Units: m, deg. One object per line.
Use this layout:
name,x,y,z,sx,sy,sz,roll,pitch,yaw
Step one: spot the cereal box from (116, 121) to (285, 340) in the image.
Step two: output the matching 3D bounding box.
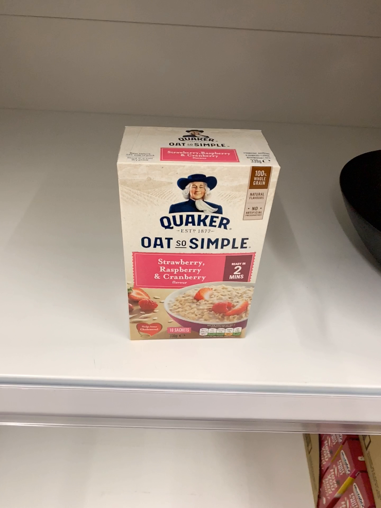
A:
cereal box,0.000,-0.015,0.395,0.130,0.208,0.081,0,38,-5
